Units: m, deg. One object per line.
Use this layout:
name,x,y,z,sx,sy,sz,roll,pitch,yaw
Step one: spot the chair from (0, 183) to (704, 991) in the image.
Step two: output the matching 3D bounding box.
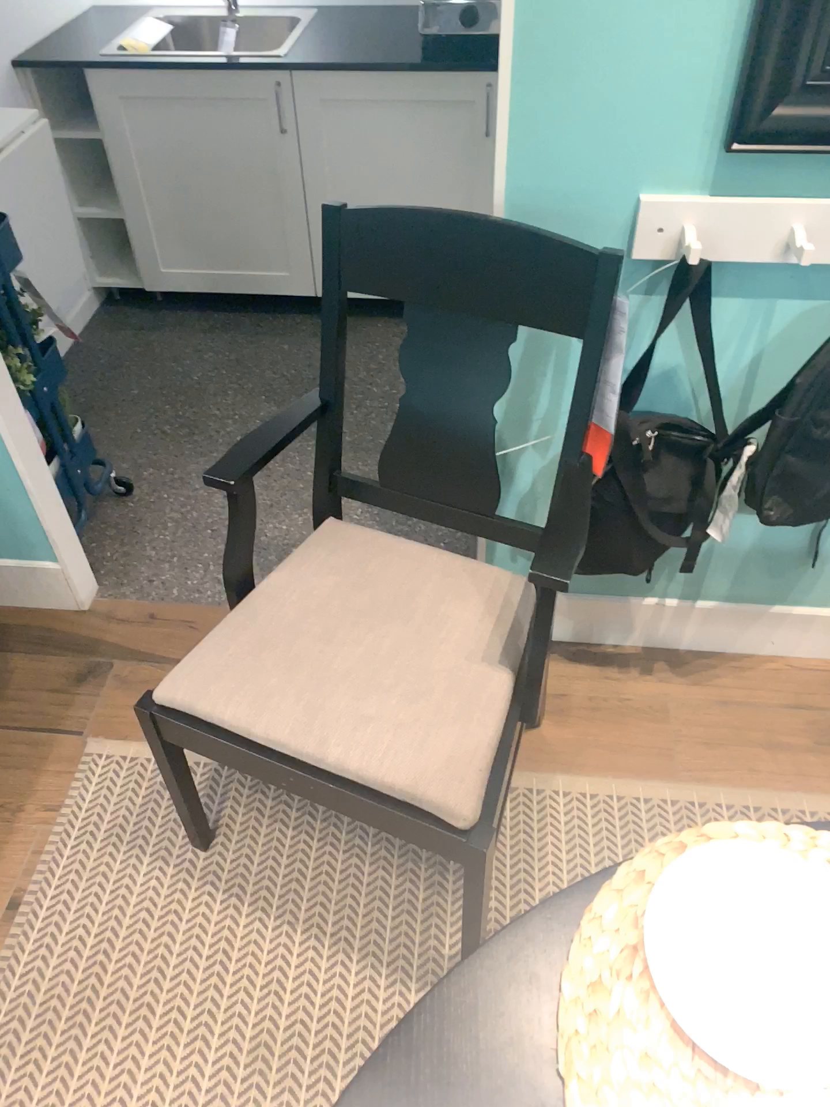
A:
chair,-0.003,0.038,1.384,0.601,0.896,0.802,17,48,18
